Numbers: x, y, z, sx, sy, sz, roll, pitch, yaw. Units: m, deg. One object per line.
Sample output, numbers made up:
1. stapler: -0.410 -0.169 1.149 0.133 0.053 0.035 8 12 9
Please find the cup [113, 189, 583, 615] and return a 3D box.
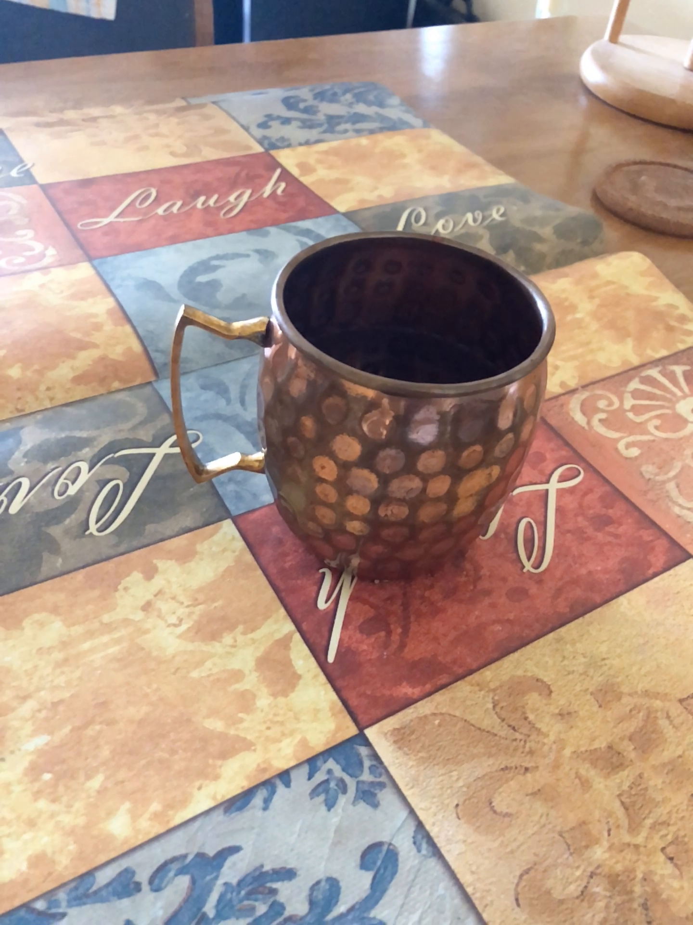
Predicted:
1. cup: 0.000 -0.021 0.263 0.120 0.090 0.100 6 45 -1
